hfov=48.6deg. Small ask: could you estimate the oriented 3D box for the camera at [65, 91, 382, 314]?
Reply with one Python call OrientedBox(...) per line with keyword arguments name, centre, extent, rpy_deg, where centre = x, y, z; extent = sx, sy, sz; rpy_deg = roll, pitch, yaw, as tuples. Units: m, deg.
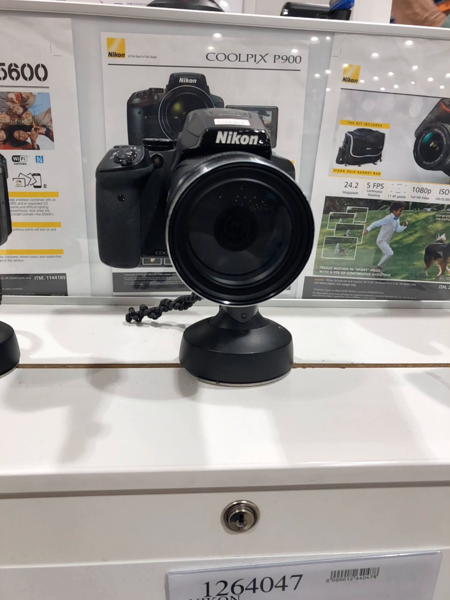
OrientedBox(name="camera", centre=(-0.010, -0.067, 0.310), extent=(0.140, 0.100, 0.161), rpy_deg=(0, 19, -7))
